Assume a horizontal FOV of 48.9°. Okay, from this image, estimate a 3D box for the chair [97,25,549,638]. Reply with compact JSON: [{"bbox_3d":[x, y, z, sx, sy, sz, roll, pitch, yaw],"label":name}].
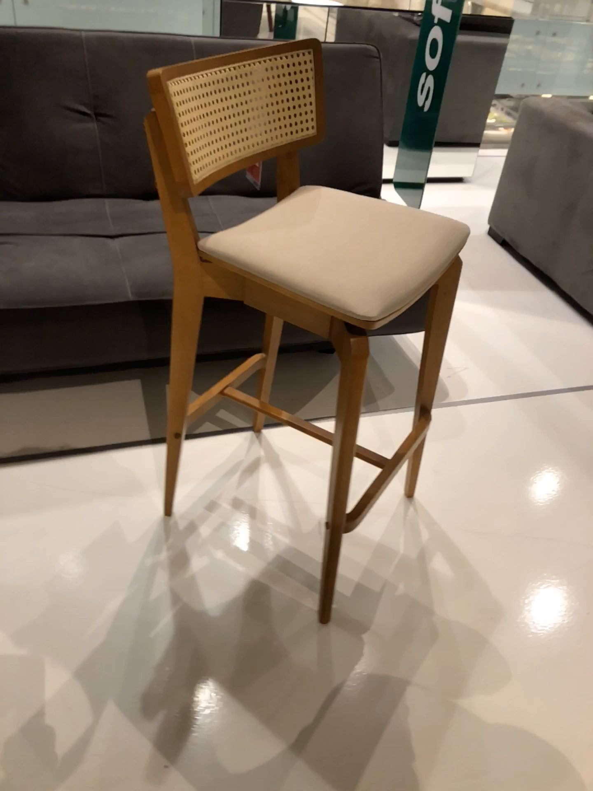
[{"bbox_3d":[0.018,-0.111,1.272,0.521,0.962,0.473,24,41,21],"label":"chair"}]
